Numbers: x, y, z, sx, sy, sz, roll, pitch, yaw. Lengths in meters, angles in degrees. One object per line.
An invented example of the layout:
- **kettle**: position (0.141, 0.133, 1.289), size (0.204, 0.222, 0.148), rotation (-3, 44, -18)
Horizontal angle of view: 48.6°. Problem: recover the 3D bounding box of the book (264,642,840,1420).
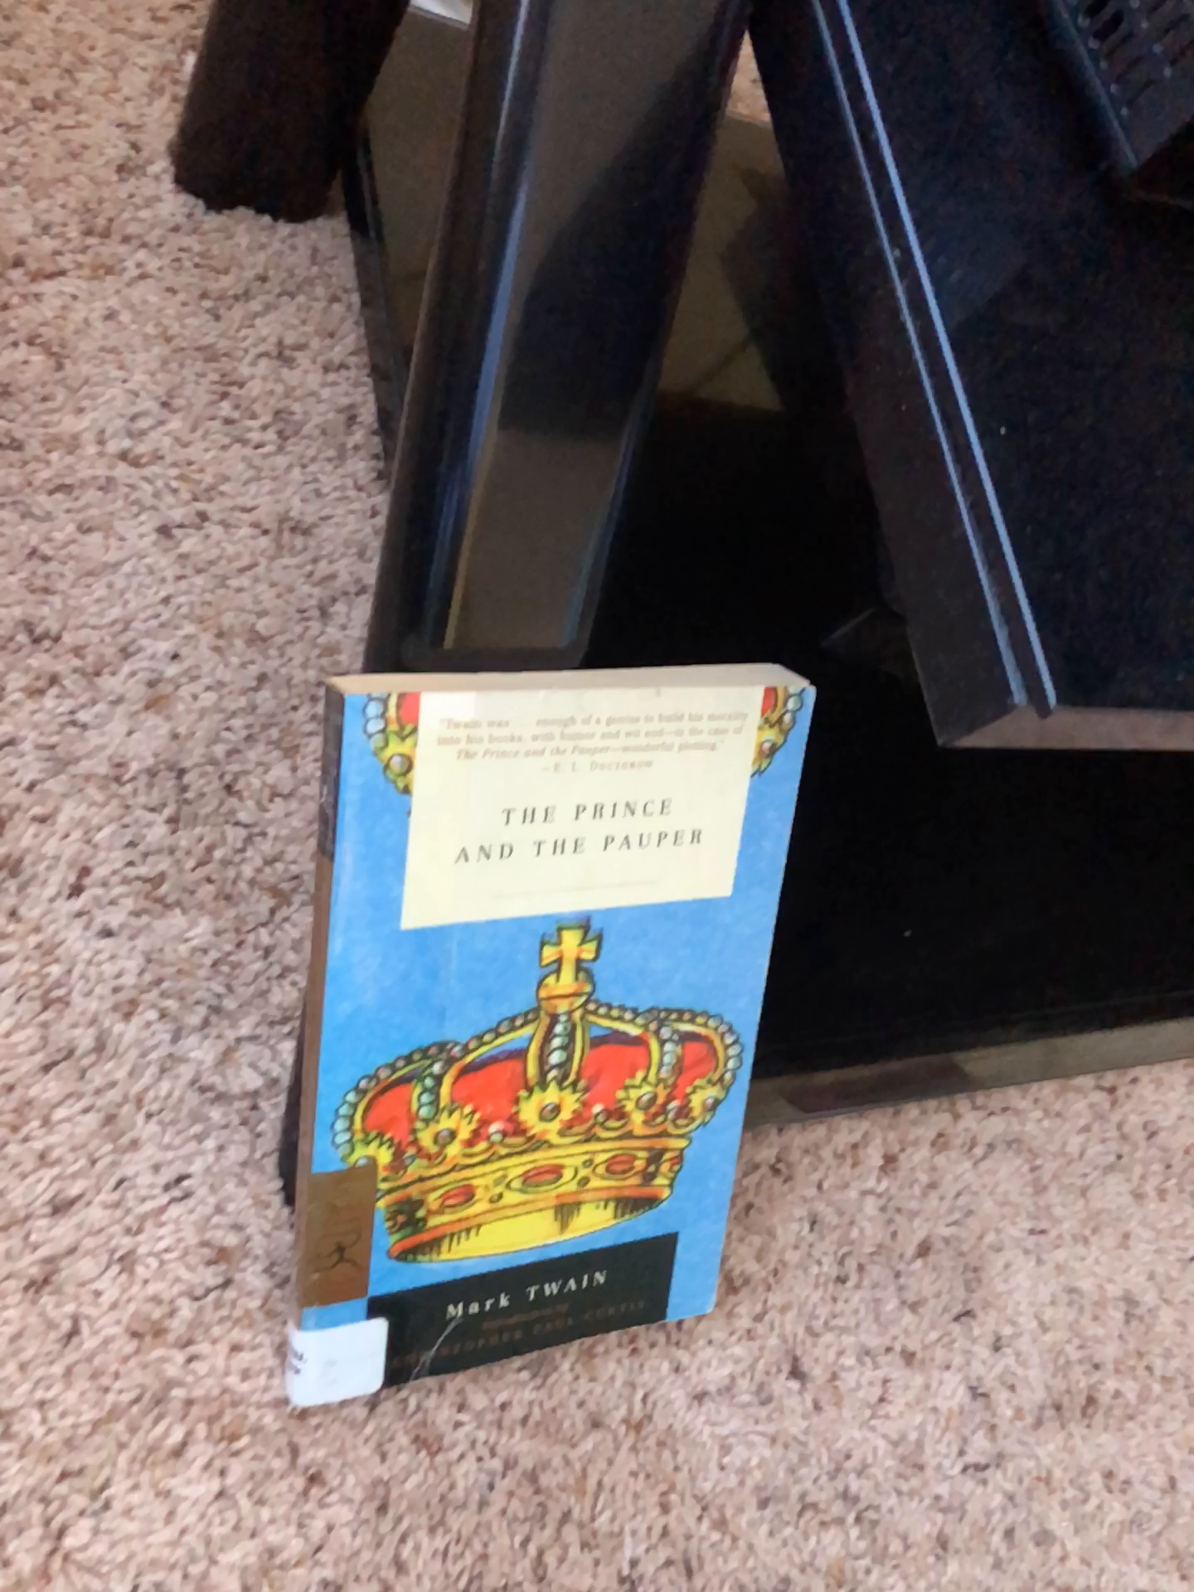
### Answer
- **book**: position (-0.013, 0.059, 0.352), size (0.130, 0.030, 0.193), rotation (-2, 110, -32)
